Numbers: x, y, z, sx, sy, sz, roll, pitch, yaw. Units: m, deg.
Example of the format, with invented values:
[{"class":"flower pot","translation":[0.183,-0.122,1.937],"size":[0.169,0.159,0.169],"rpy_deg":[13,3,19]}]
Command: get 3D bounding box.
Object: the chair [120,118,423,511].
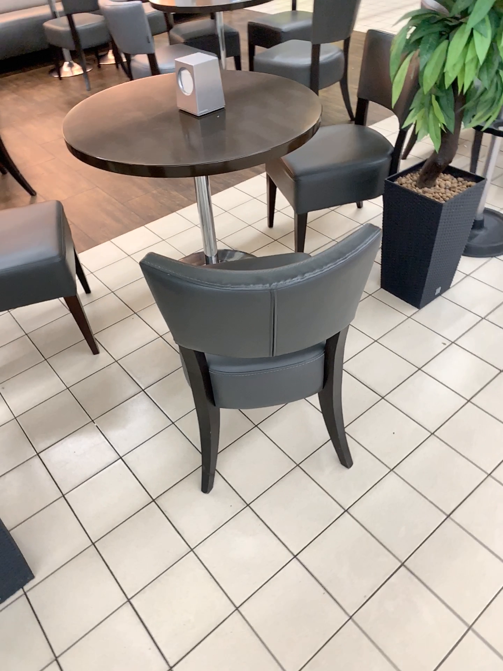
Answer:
[{"class":"chair","translation":[0.022,-0.054,1.420],"size":[0.550,0.796,0.643],"rpy_deg":[-8,42,-3]}]
